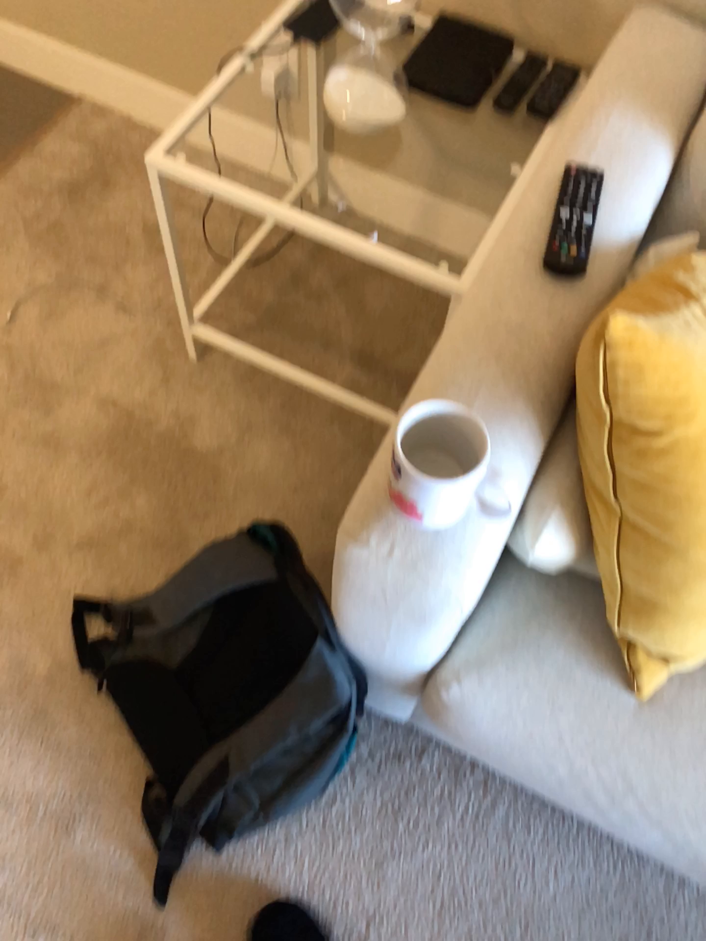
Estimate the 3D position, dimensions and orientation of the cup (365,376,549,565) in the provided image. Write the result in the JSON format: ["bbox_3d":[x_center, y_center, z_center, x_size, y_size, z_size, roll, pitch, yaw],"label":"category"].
[{"bbox_3d":[0.086,0.002,0.677,0.120,0.100,0.080,30,64,12],"label":"cup"}]
